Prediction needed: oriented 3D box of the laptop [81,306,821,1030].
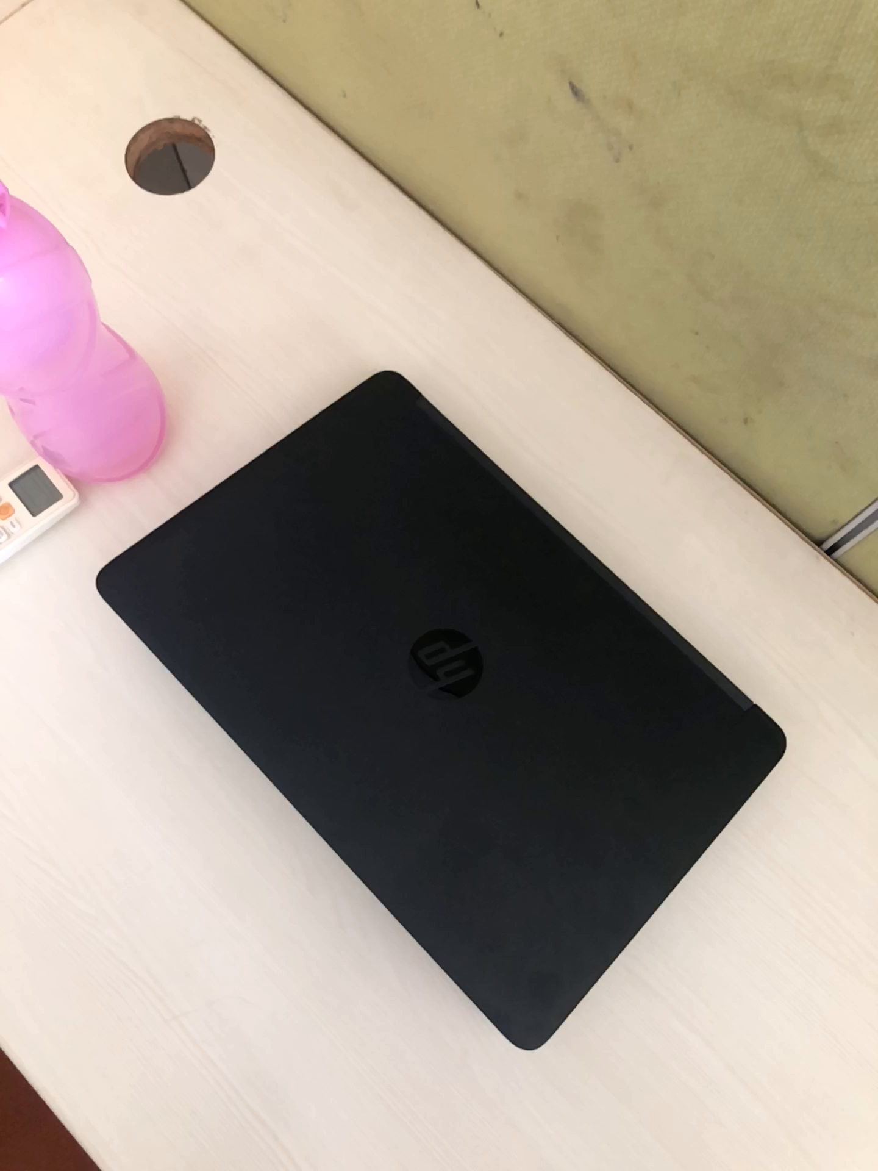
[{"bbox_3d":[0.000,0.032,0.542,0.226,0.050,0.330,-43,78,-9],"label":"laptop"}]
